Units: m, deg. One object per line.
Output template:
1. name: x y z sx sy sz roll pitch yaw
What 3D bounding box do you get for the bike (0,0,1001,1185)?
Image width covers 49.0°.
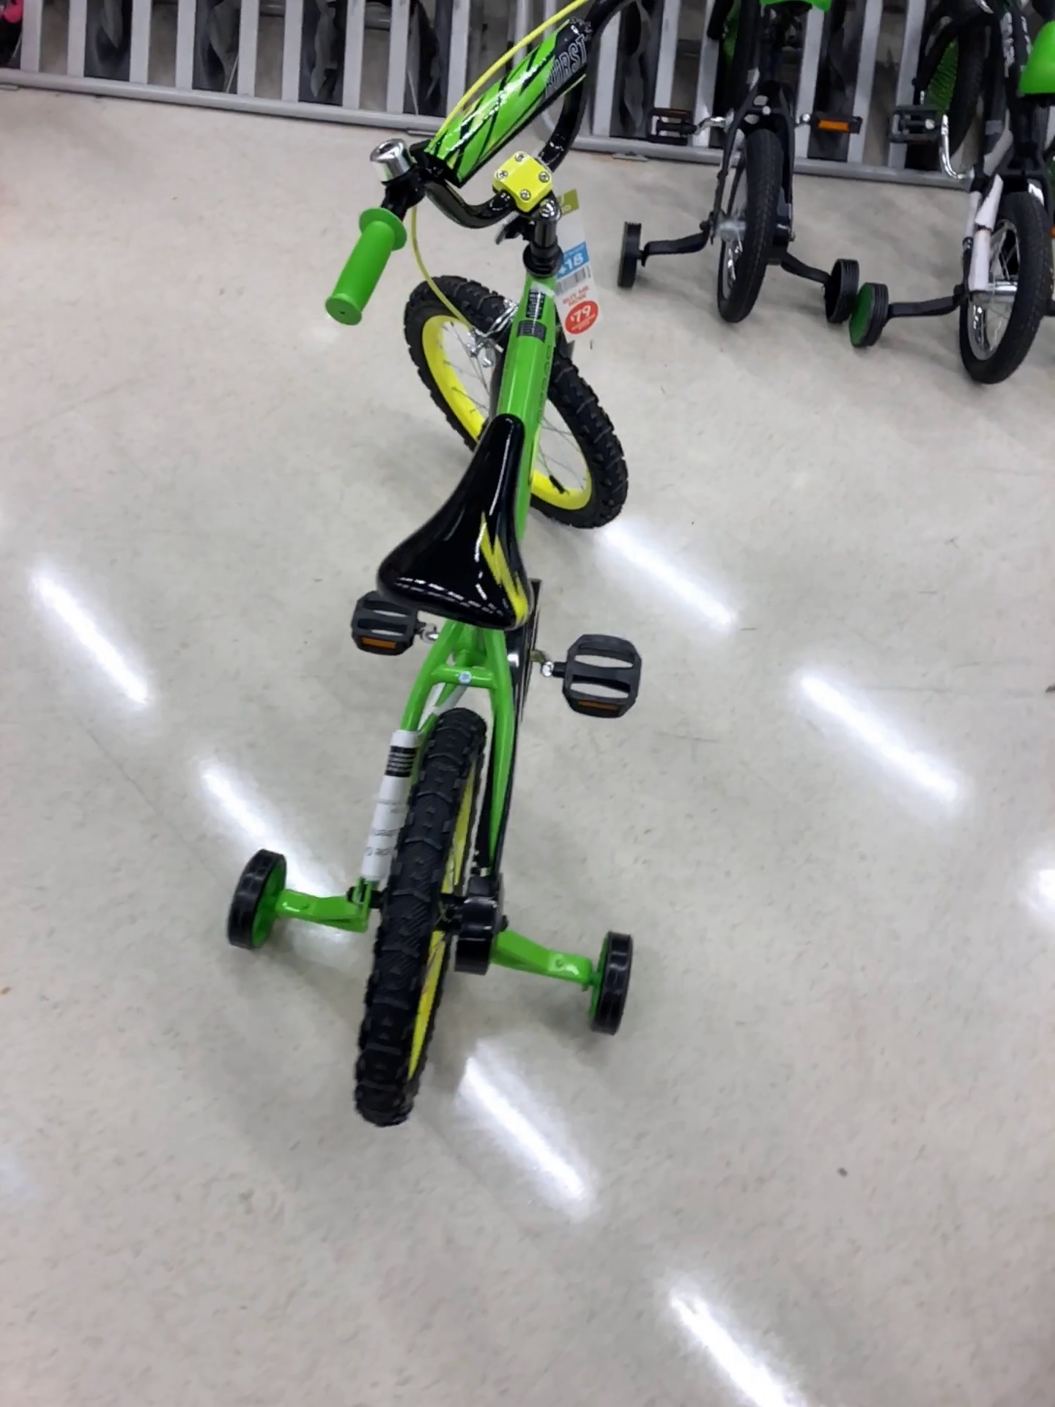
1. bike: -0.116 -0.245 1.081 0.552 0.807 1.048 3 61 -5
